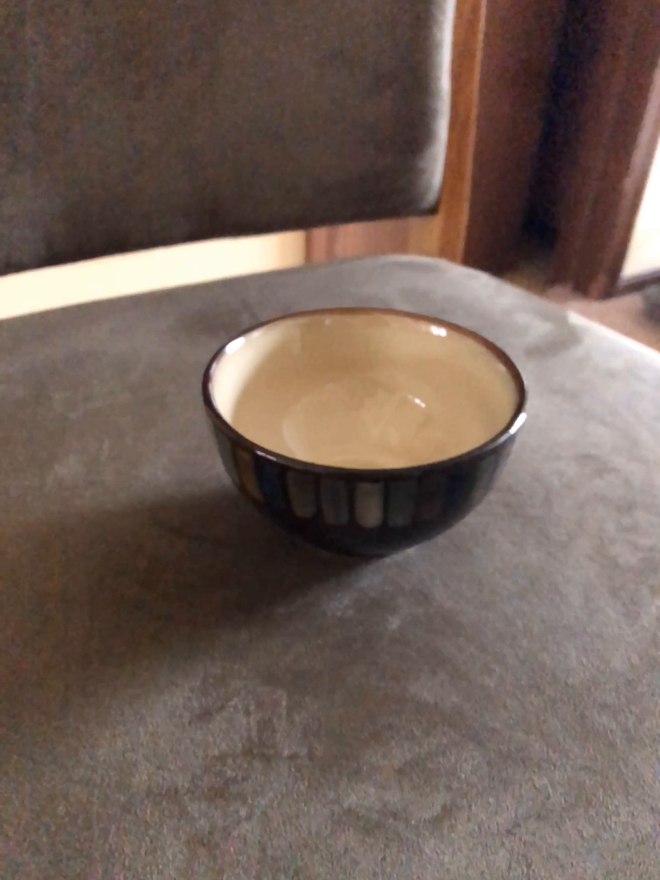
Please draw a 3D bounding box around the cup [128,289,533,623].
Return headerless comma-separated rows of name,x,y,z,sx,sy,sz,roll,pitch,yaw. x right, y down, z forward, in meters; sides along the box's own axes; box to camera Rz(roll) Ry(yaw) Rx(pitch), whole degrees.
cup,0.009,-0.003,0.260,0.114,0.044,0.109,2,36,-1
